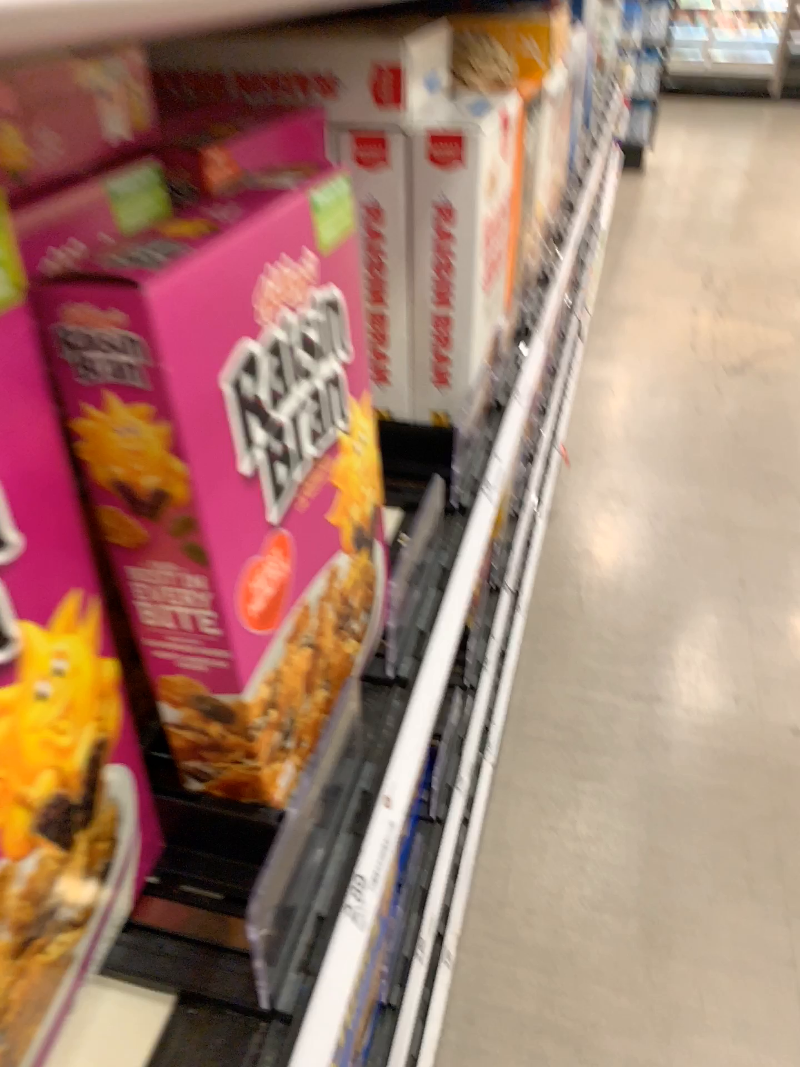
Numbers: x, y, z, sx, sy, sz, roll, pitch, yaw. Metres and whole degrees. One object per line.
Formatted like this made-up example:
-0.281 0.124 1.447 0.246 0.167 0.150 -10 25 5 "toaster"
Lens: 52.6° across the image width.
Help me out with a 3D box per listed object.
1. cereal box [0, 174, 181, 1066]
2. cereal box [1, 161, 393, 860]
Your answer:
-0.168 0.080 0.234 0.060 0.298 0.221 7 36 12 "cereal box"
-0.064 -0.014 0.402 0.050 0.279 0.201 5 35 15 "cereal box"
